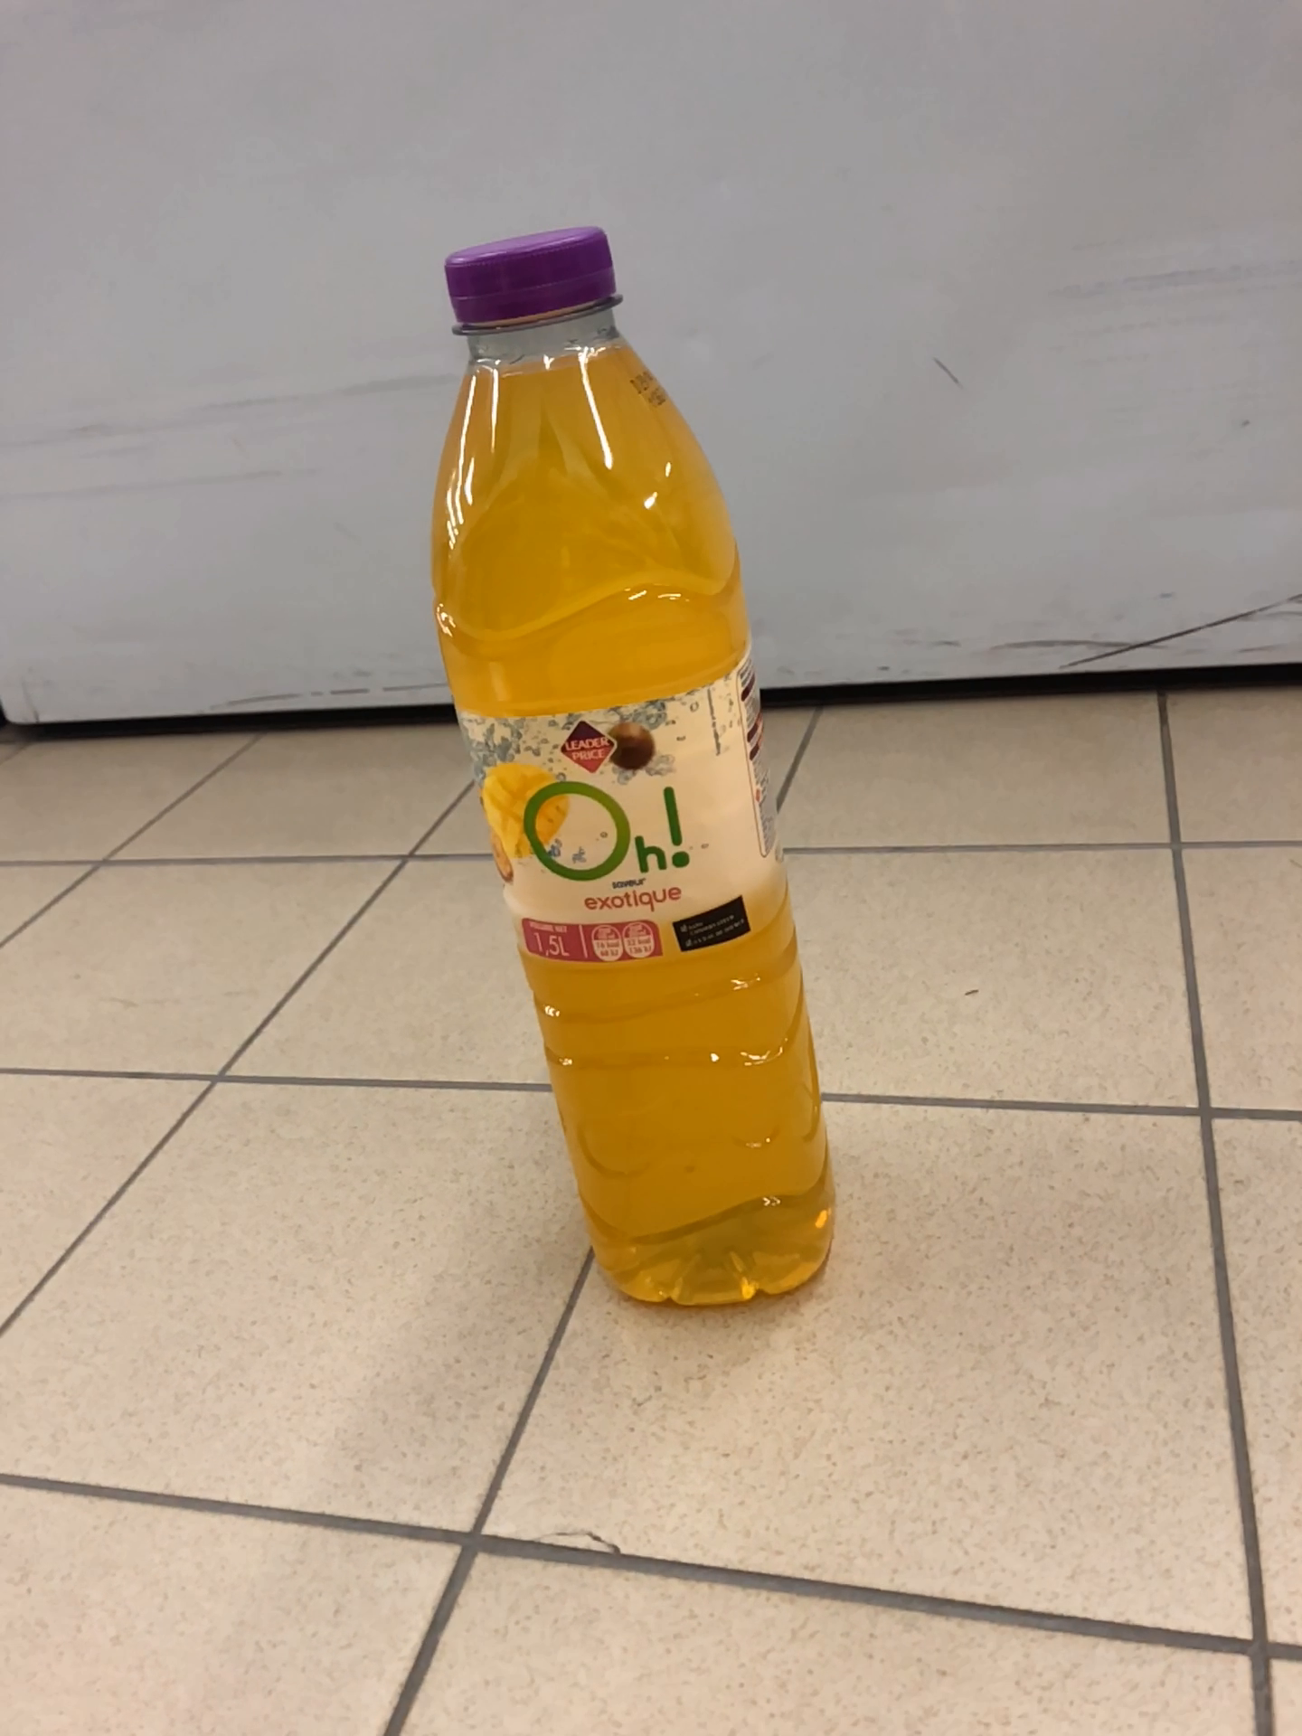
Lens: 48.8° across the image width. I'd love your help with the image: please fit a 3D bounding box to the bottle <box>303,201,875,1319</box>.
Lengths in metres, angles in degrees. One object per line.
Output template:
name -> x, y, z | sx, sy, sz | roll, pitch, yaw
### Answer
bottle -> 0.000, -0.018, 0.410 | 0.100, 0.298, 0.091 | -5, 26, 9
